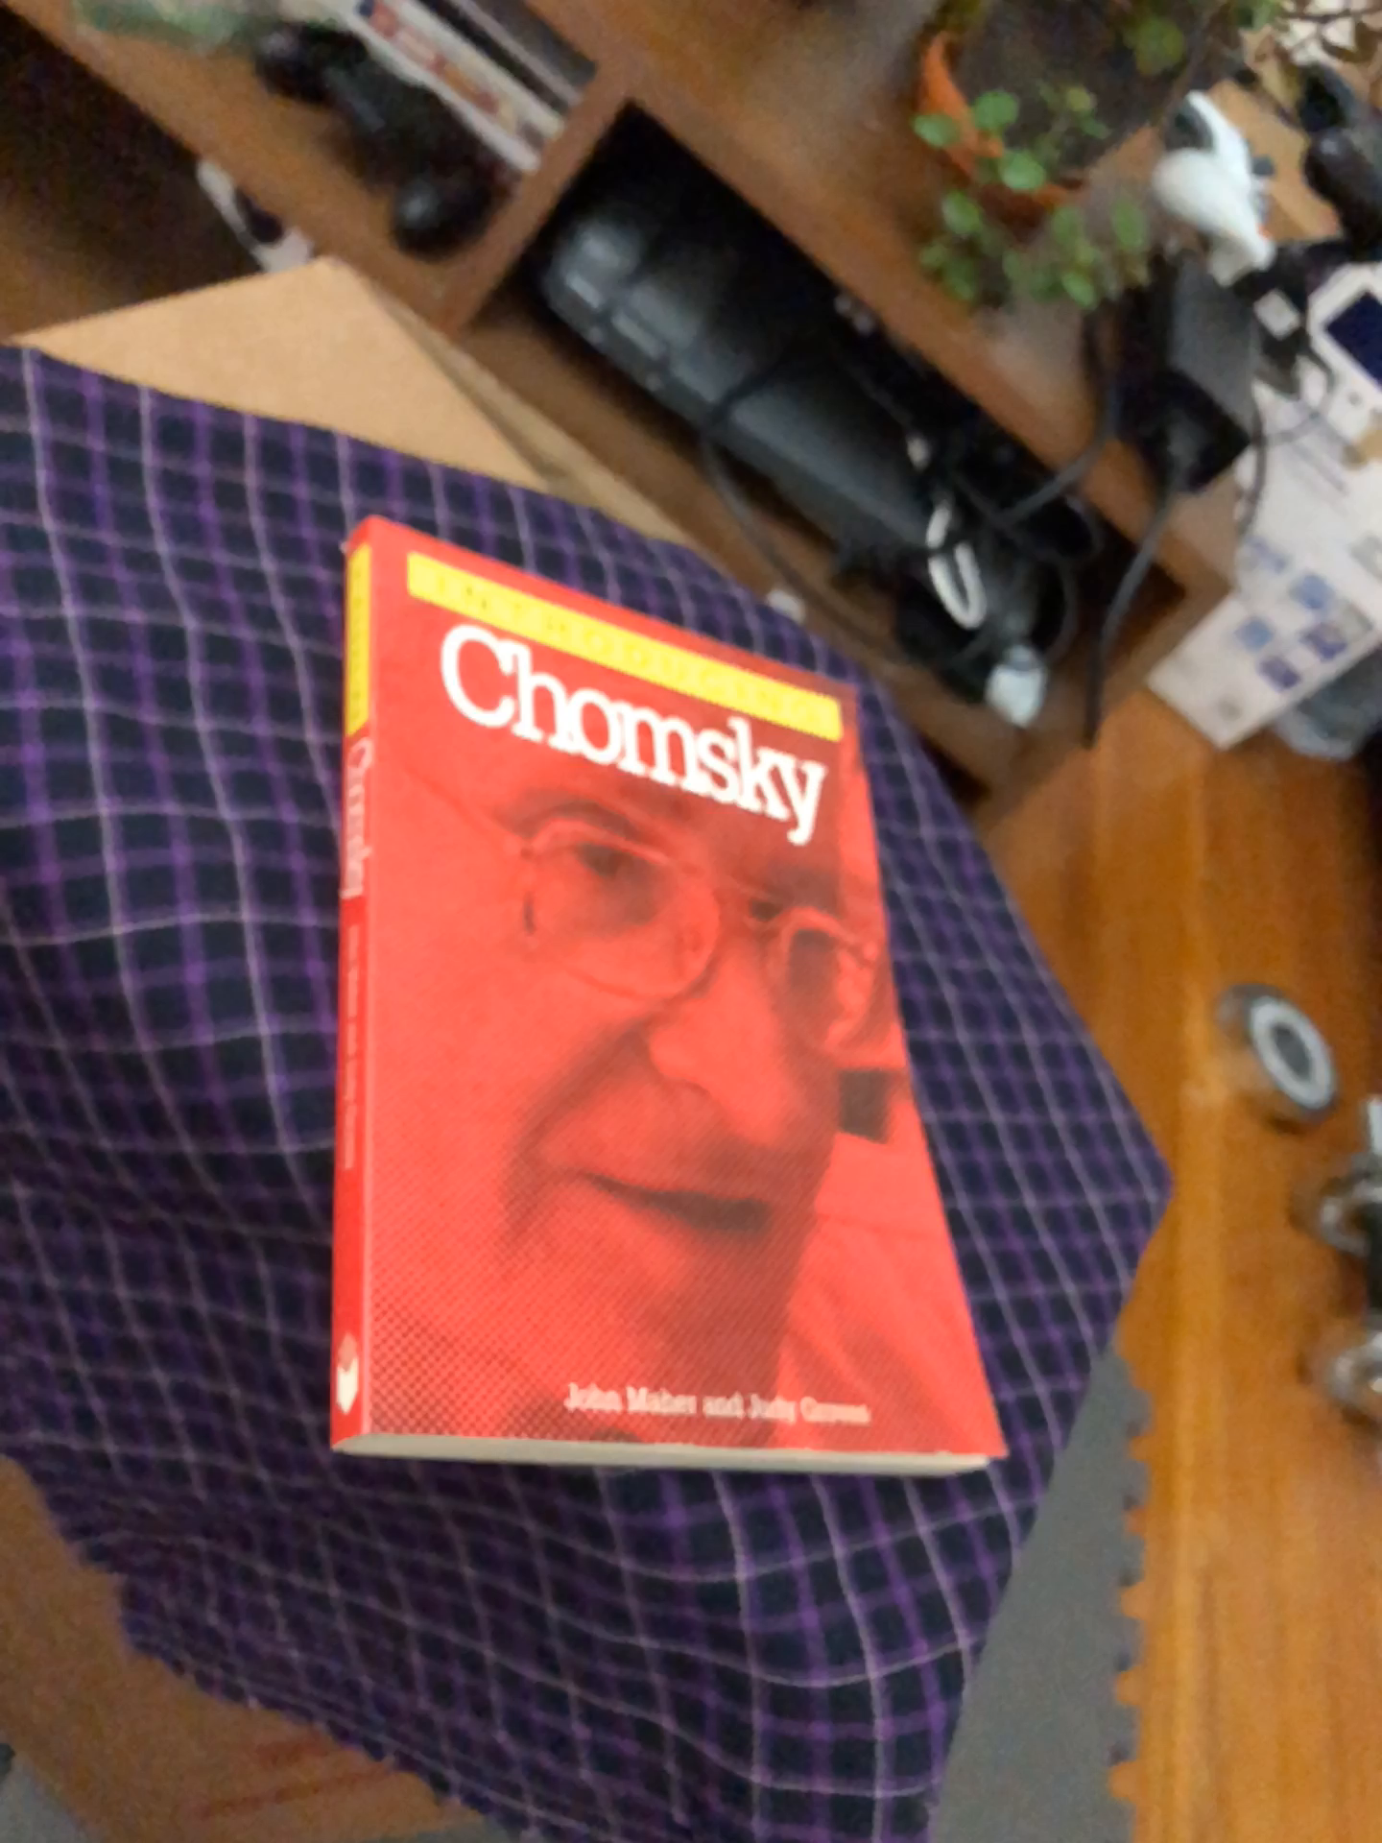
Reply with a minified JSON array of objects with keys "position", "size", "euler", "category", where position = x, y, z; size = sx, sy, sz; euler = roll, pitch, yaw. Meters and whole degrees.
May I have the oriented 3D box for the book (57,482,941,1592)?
[{"position":[-0.040,0.022,0.360],"size":[0.181,0.020,0.241],"euler":[14,52,-33],"category":"book"}]
